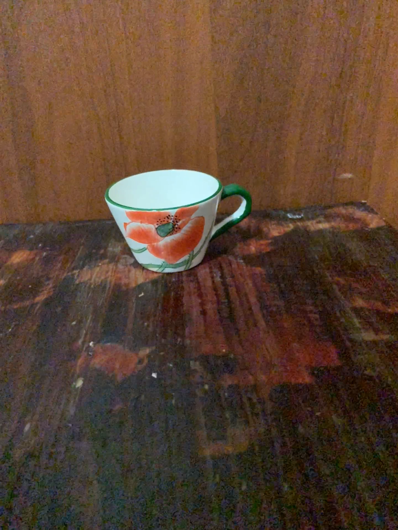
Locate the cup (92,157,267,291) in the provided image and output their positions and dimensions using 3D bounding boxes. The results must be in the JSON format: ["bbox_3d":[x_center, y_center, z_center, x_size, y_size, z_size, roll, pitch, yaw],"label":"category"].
[{"bbox_3d":[-0.015,-0.032,0.275,0.094,0.045,0.076,-13,31,-13],"label":"cup"}]
